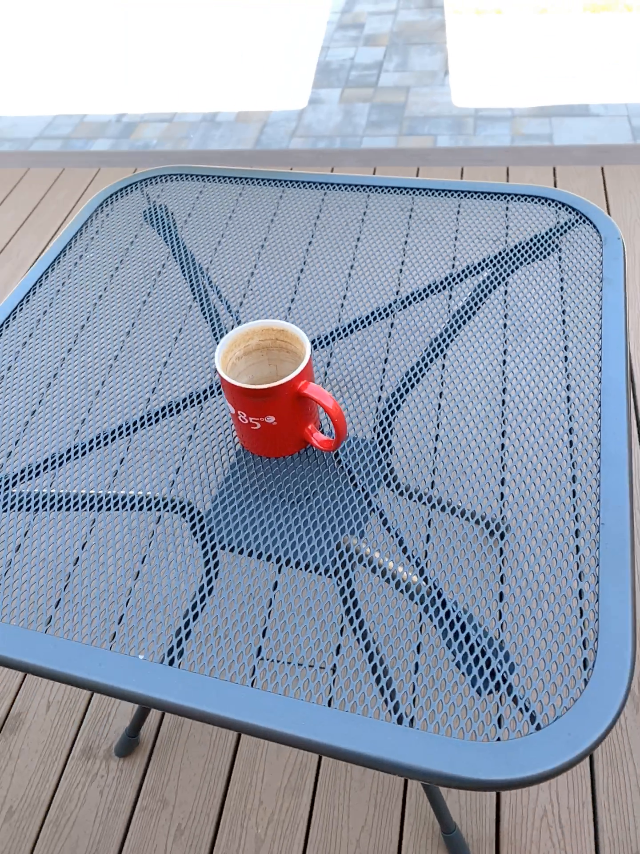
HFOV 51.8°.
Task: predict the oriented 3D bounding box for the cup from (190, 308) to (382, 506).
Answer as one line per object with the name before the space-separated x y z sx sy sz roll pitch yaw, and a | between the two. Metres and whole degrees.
cup | -0.026 -0.020 0.586 0.130 0.100 0.090 28 61 26
